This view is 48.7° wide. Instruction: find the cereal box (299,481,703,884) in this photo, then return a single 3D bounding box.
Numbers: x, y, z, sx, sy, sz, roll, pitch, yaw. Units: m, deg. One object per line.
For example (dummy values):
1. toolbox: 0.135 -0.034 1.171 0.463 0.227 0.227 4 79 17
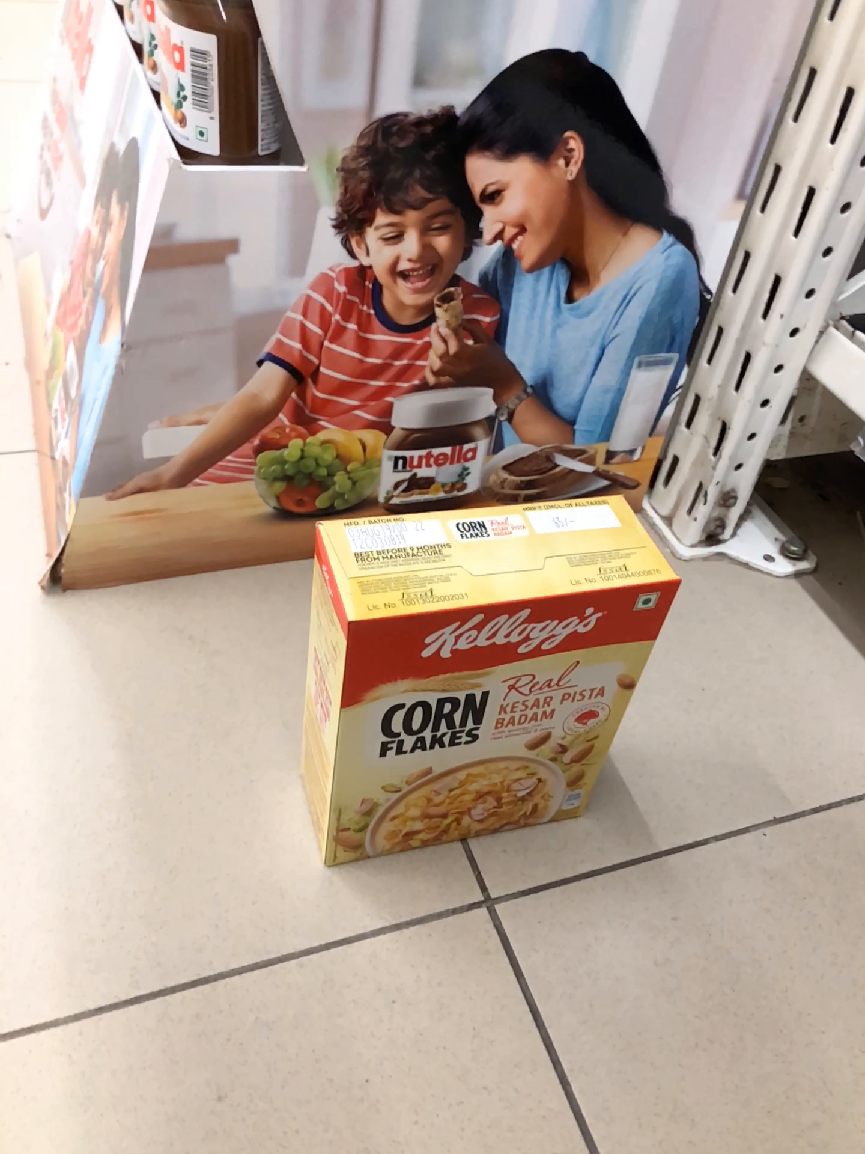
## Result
1. cereal box: 0.019 0.050 0.427 0.140 0.169 0.060 -8 44 -19
